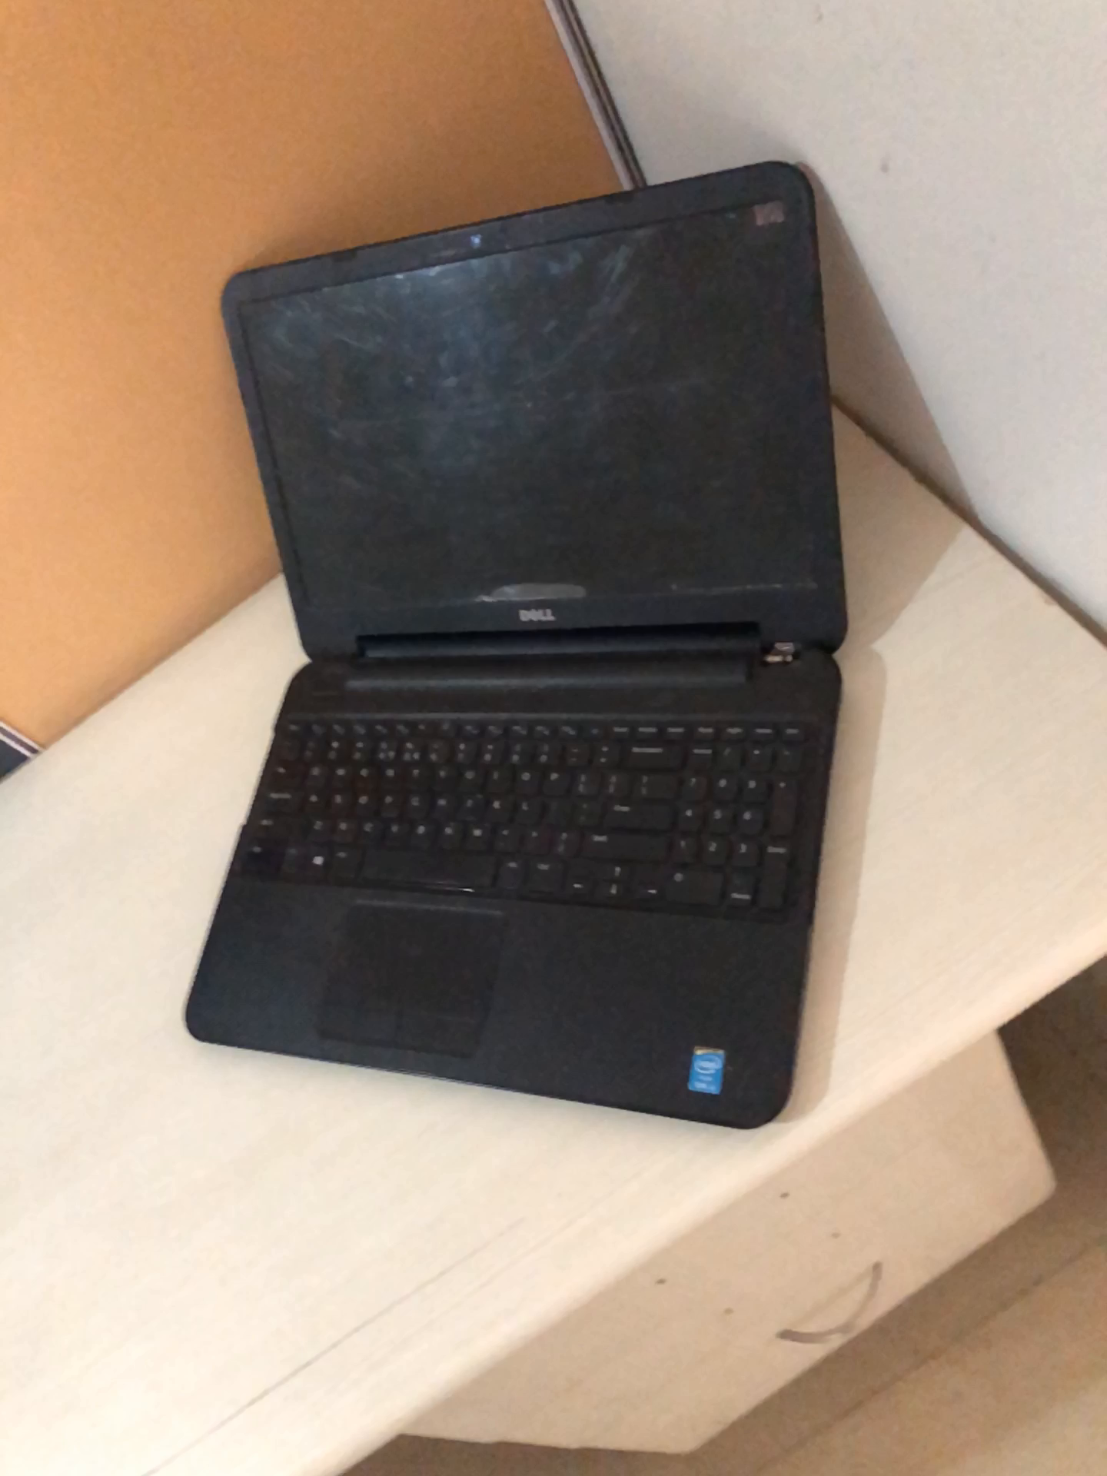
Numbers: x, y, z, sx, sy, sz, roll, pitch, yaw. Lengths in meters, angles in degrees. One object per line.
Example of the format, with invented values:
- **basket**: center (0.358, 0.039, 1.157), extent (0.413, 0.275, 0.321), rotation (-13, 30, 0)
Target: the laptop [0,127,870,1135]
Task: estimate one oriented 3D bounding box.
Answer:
- **laptop**: center (-0.053, -0.058, 0.629), extent (0.353, 0.175, 0.414), rotation (1, 64, 28)
